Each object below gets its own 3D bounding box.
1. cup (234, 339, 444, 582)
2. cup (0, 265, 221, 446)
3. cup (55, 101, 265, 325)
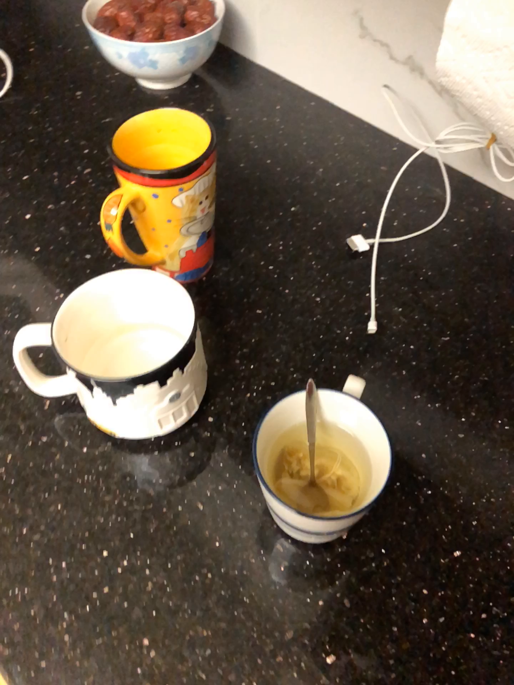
[{"bbox_3d":[0.055,0.076,0.382,0.090,0.060,0.120,24,58,17],"label":"cup"},{"bbox_3d":[-0.103,0.010,0.433,0.140,0.080,0.110,1,54,1],"label":"cup"},{"bbox_3d":[-0.074,-0.117,0.502,0.100,0.100,0.150,26,59,18],"label":"cup"}]
